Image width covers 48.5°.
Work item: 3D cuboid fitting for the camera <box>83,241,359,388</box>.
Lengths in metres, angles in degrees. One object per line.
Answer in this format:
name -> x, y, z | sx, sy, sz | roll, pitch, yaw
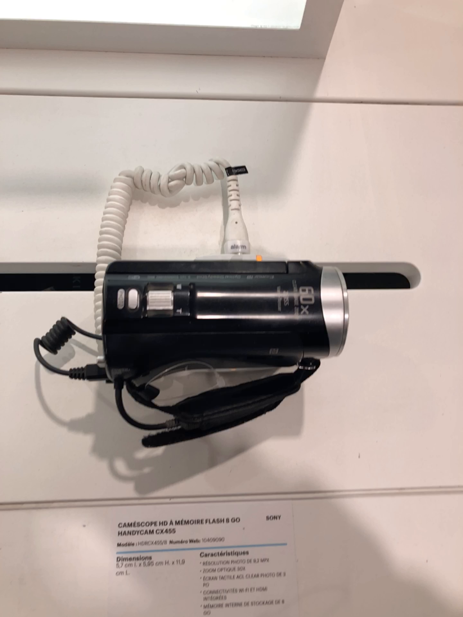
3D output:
camera -> -0.007, 0.005, 0.261 | 0.121, 0.058, 0.057 | -2, 72, -5
